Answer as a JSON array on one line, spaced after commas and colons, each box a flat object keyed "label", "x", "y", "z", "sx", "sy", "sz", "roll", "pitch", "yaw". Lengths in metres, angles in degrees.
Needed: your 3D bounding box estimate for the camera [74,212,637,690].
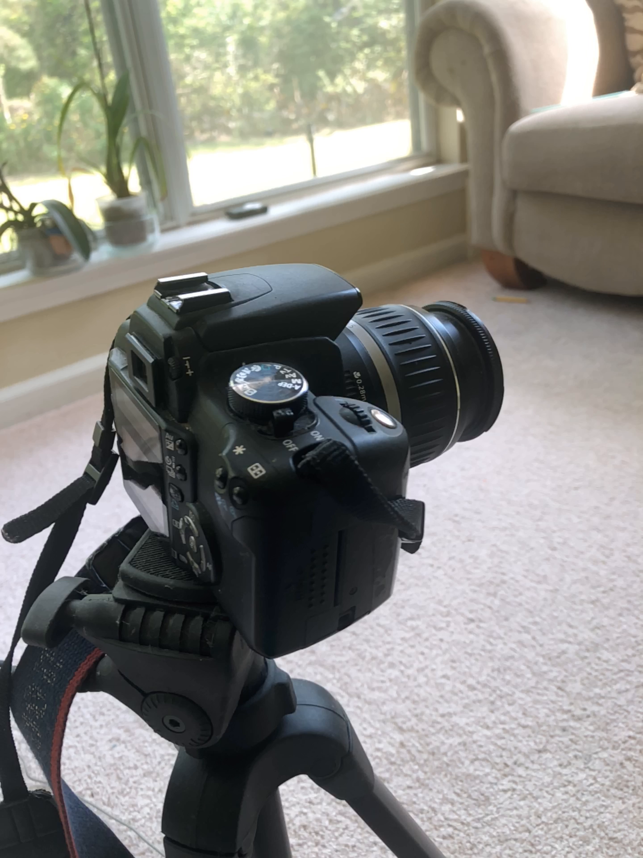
[{"label": "camera", "x": 0.006, "y": -0.011, "z": 0.266, "sx": 0.142, "sy": 0.093, "sz": 0.131, "roll": -17, "pitch": 36, "yaw": -32}]
